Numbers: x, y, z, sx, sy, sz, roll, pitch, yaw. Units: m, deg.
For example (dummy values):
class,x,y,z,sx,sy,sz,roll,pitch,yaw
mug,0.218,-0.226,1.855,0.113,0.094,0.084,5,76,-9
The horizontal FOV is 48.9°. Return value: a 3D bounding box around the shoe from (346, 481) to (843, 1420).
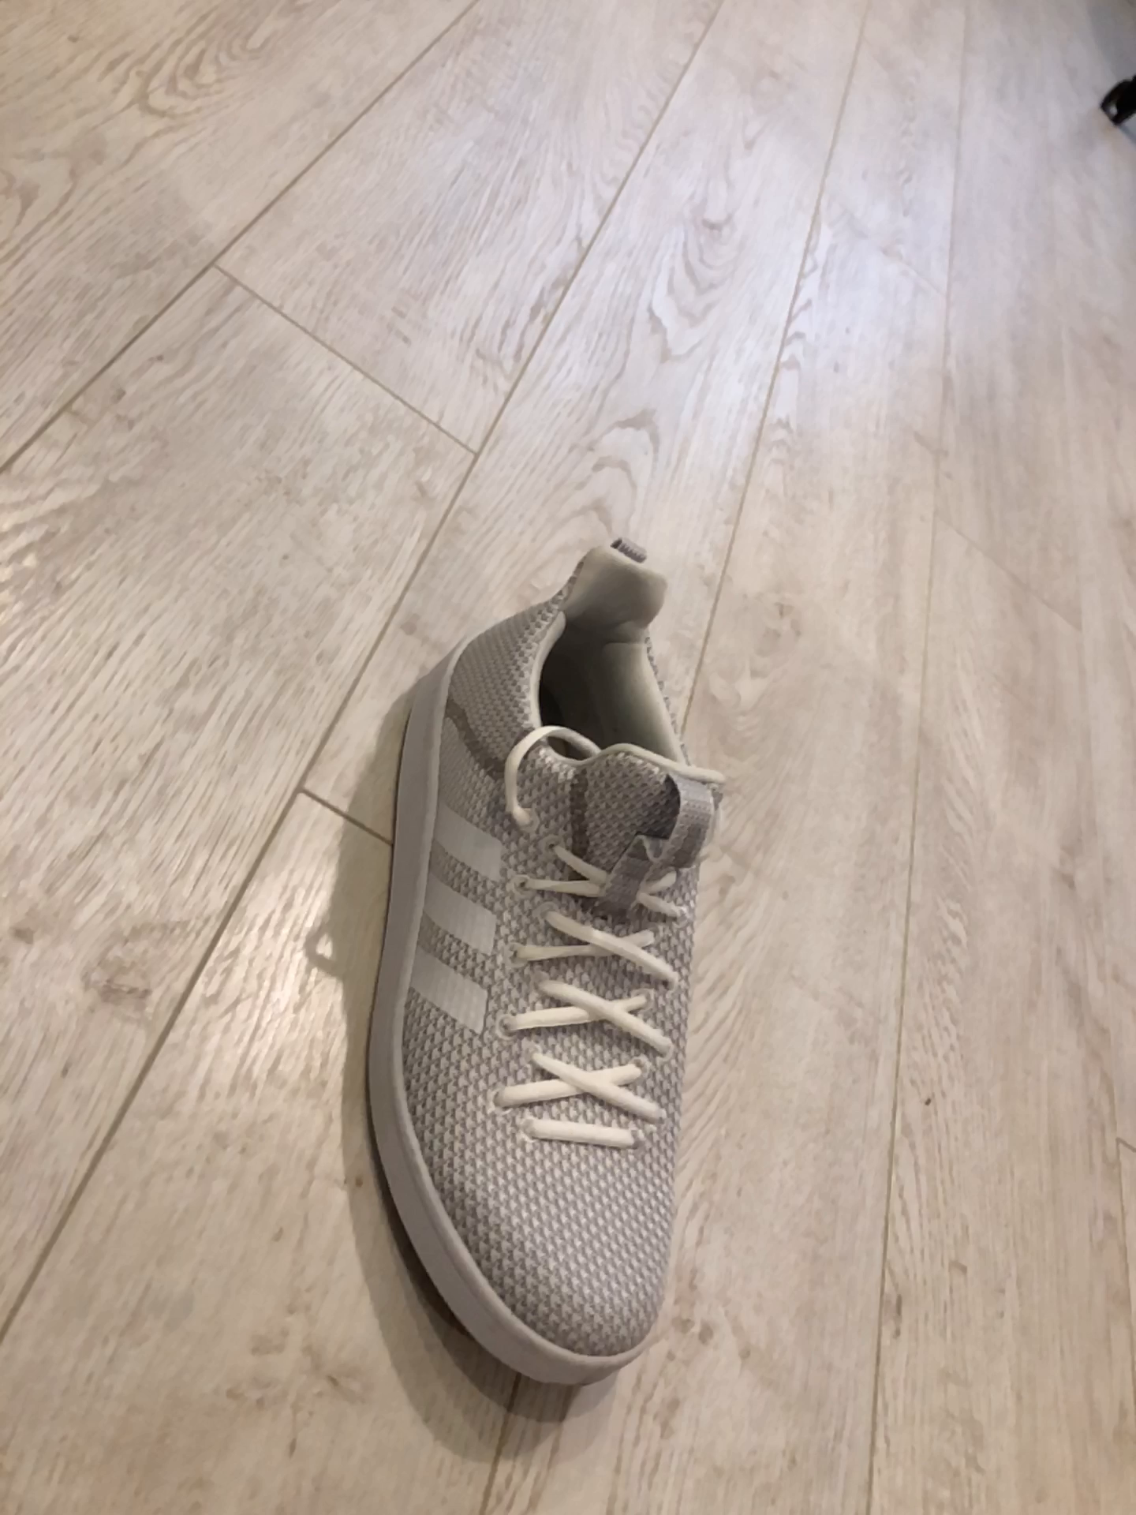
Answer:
class,x,y,z,sx,sy,sz,roll,pitch,yaw
shoe,-0.008,0.060,0.440,0.100,0.109,0.291,15,52,-31
